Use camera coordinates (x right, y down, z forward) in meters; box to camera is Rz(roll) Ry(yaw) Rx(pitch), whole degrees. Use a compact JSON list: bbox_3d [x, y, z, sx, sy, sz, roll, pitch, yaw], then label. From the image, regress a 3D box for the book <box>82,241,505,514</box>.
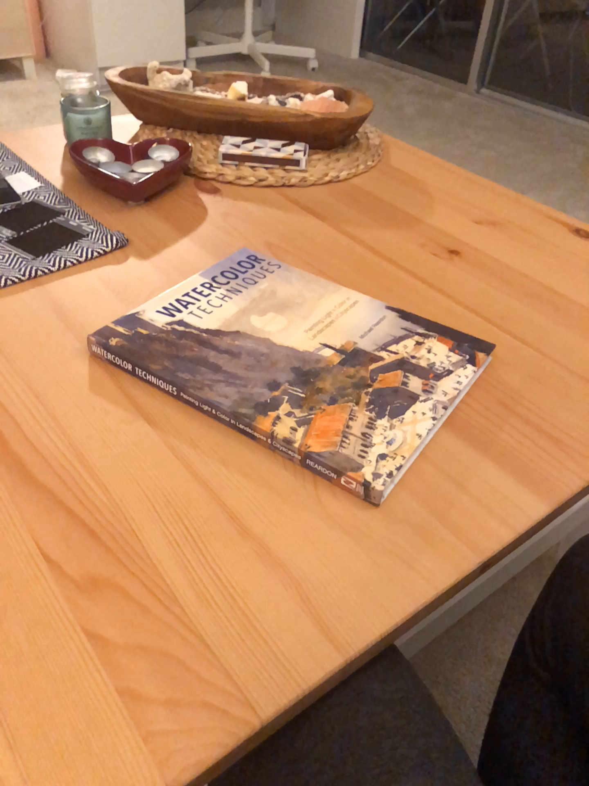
[{"bbox_3d":[0.005,-0.038,0.541,0.279,0.020,0.214,25,43,22],"label":"book"}]
